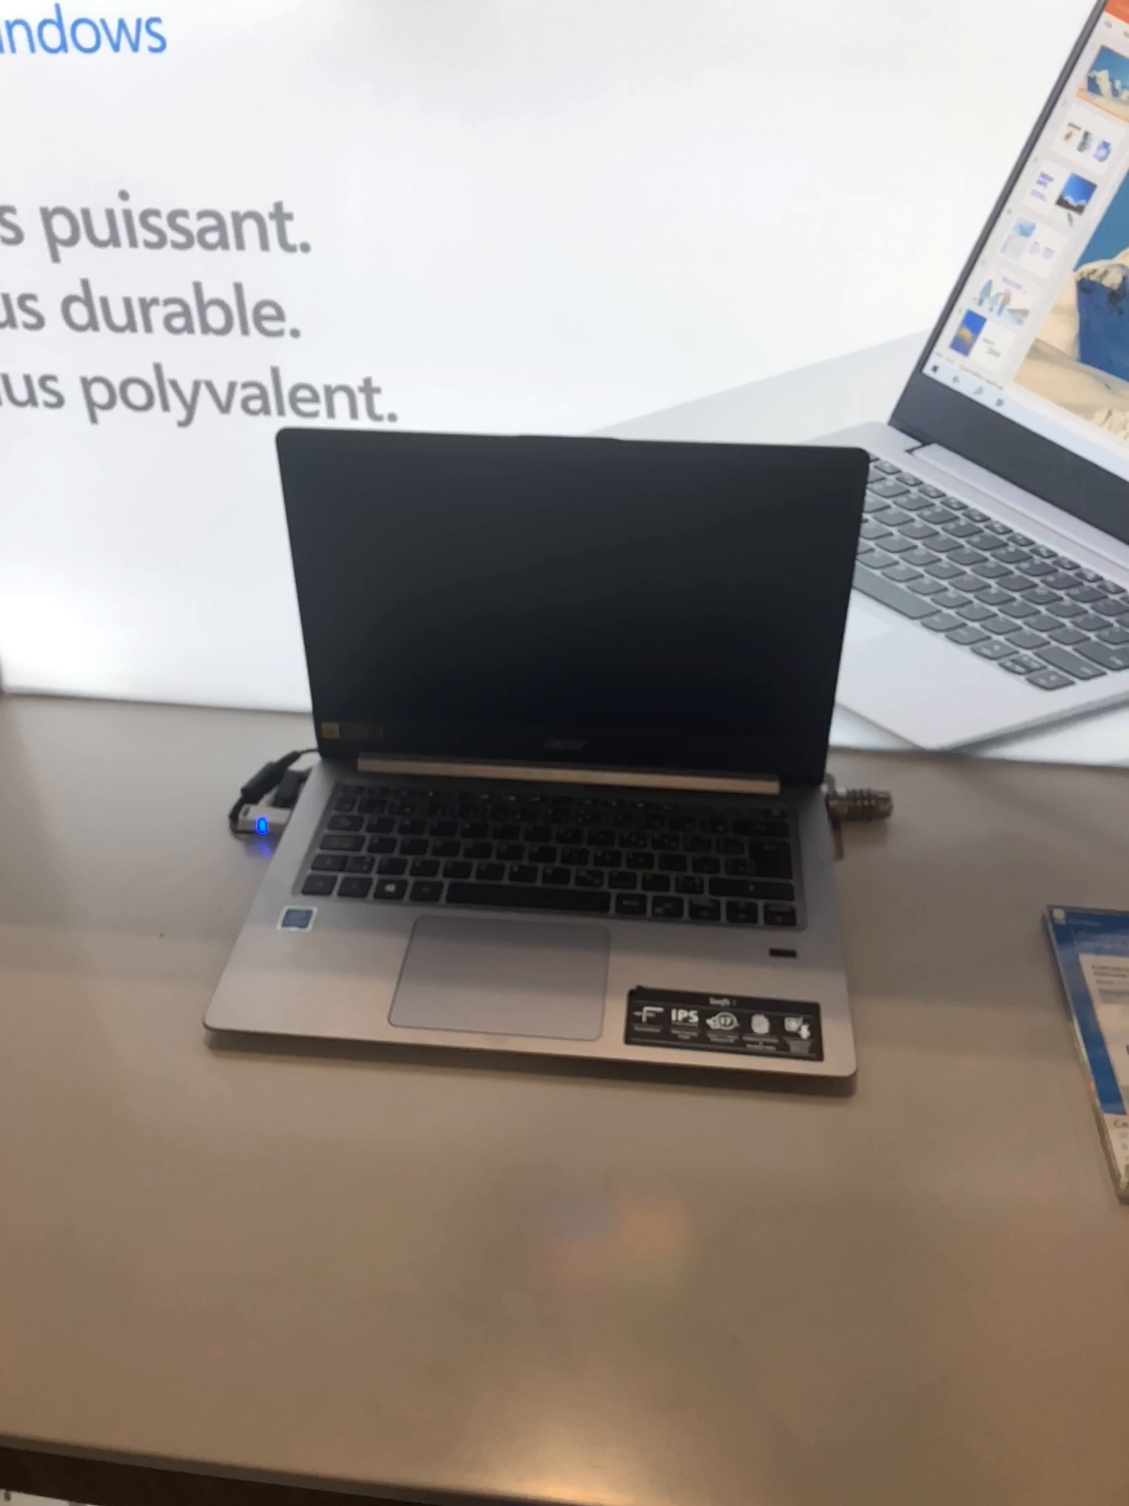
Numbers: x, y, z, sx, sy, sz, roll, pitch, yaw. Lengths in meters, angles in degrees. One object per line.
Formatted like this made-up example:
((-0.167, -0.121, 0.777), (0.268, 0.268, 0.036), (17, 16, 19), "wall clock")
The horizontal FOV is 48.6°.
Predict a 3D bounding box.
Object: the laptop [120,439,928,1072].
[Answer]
((-0.008, -0.010, 0.629), (0.311, 0.210, 0.227), (3, 35, 5), "laptop")
